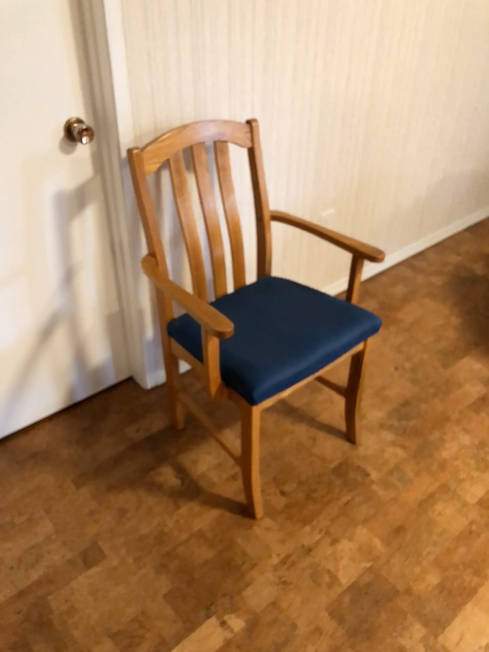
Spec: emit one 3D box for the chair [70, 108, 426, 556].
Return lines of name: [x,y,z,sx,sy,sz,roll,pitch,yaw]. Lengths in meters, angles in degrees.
chair: [-0.005,-0.008,1.502,0.551,0.937,0.591,-28,44,-35]
